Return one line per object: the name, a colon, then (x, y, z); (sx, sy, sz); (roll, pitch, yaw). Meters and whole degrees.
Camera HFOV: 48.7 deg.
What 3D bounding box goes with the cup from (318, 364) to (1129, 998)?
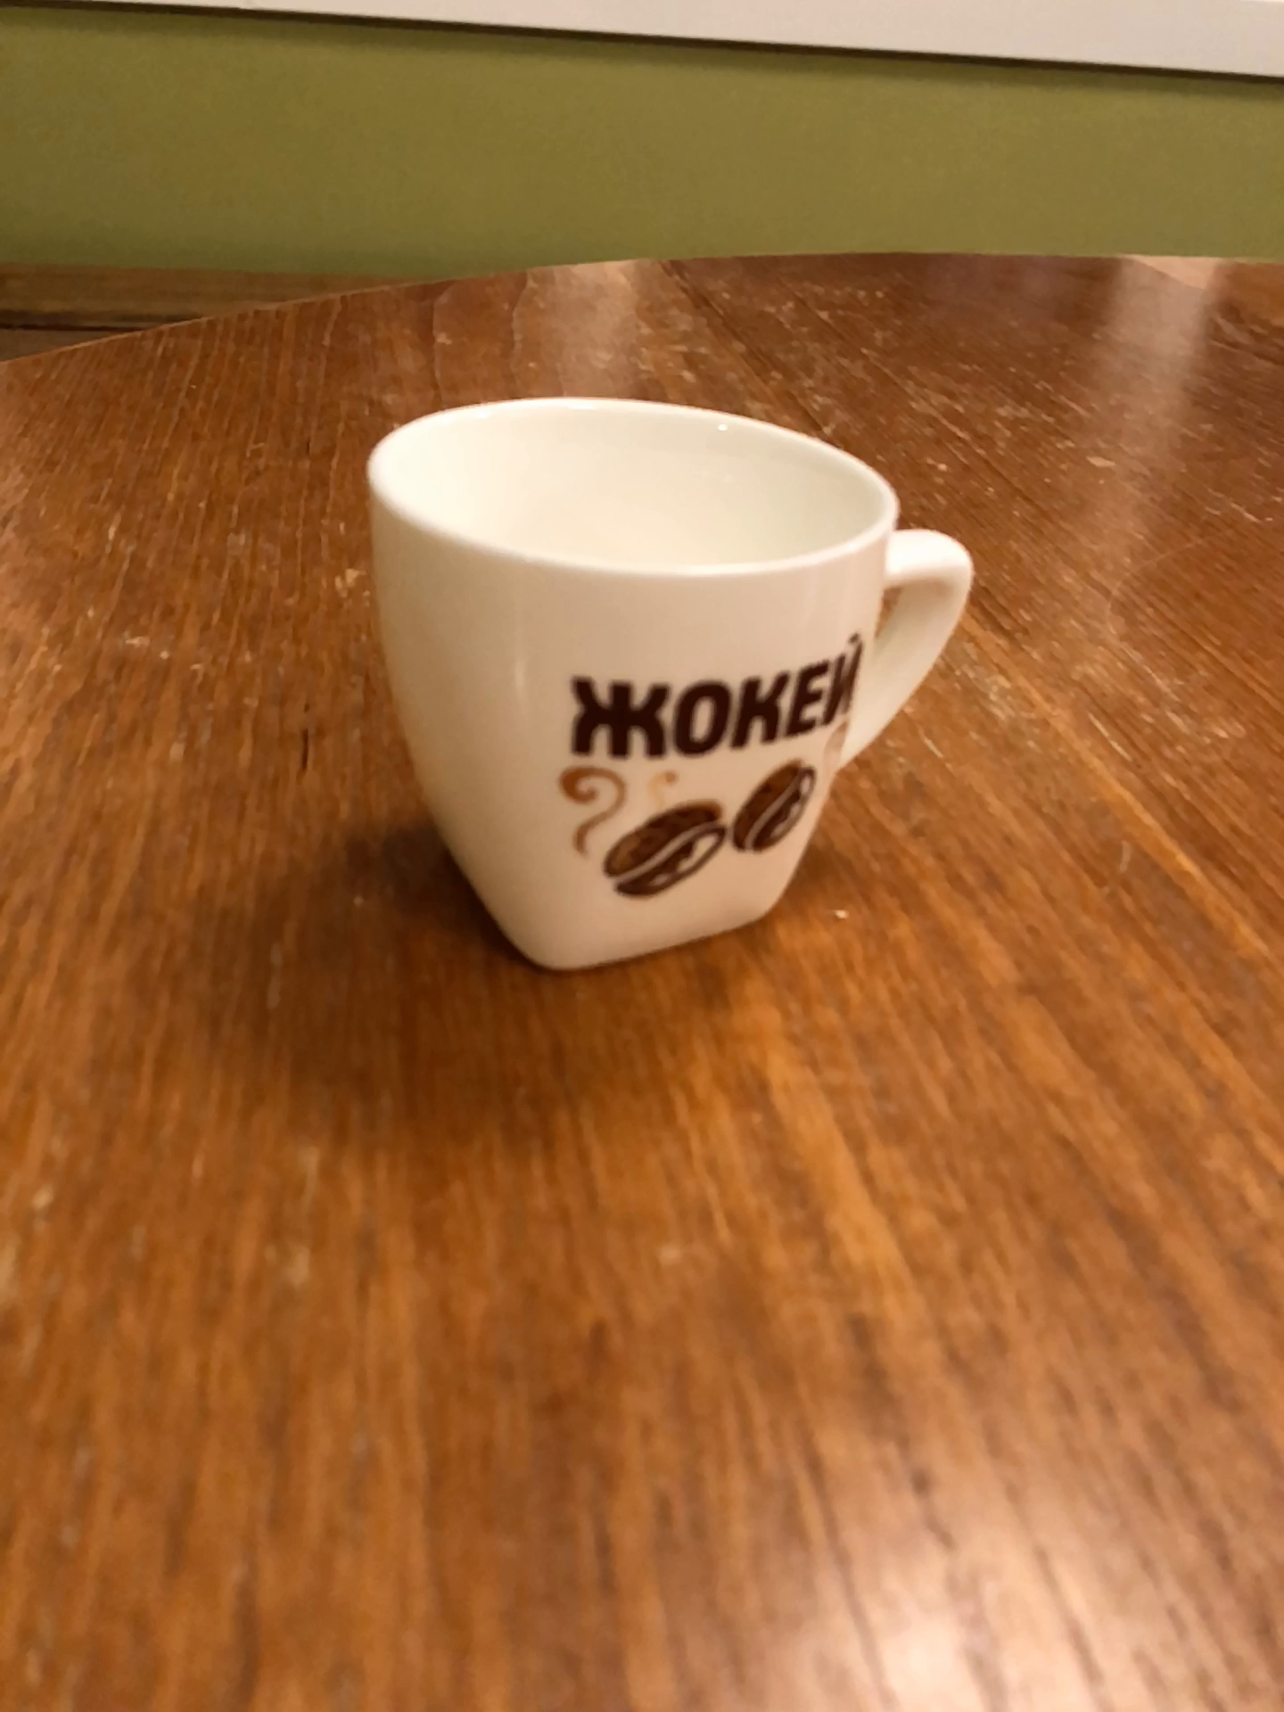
cup: (0.006, -0.028, 0.179); (0.076, 0.047, 0.060); (-13, 37, -24)
